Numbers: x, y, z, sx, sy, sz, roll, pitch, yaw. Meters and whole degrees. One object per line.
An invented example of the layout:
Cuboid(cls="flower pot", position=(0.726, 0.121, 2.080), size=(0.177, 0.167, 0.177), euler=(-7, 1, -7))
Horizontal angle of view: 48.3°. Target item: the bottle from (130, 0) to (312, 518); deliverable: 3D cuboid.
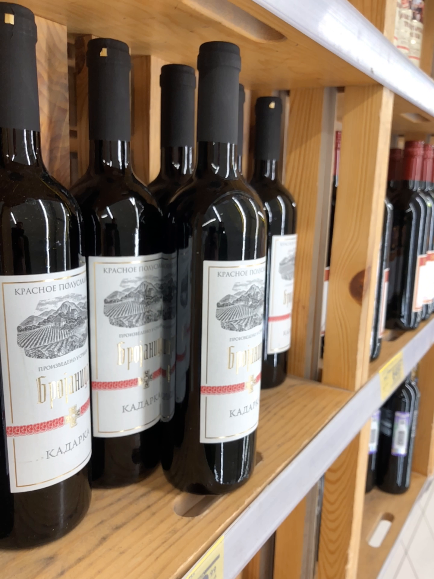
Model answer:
Cuboid(cls="bottle", position=(0.000, -0.018, 0.328), size=(0.080, 0.080, 0.309), euler=(-17, 113, -54))
